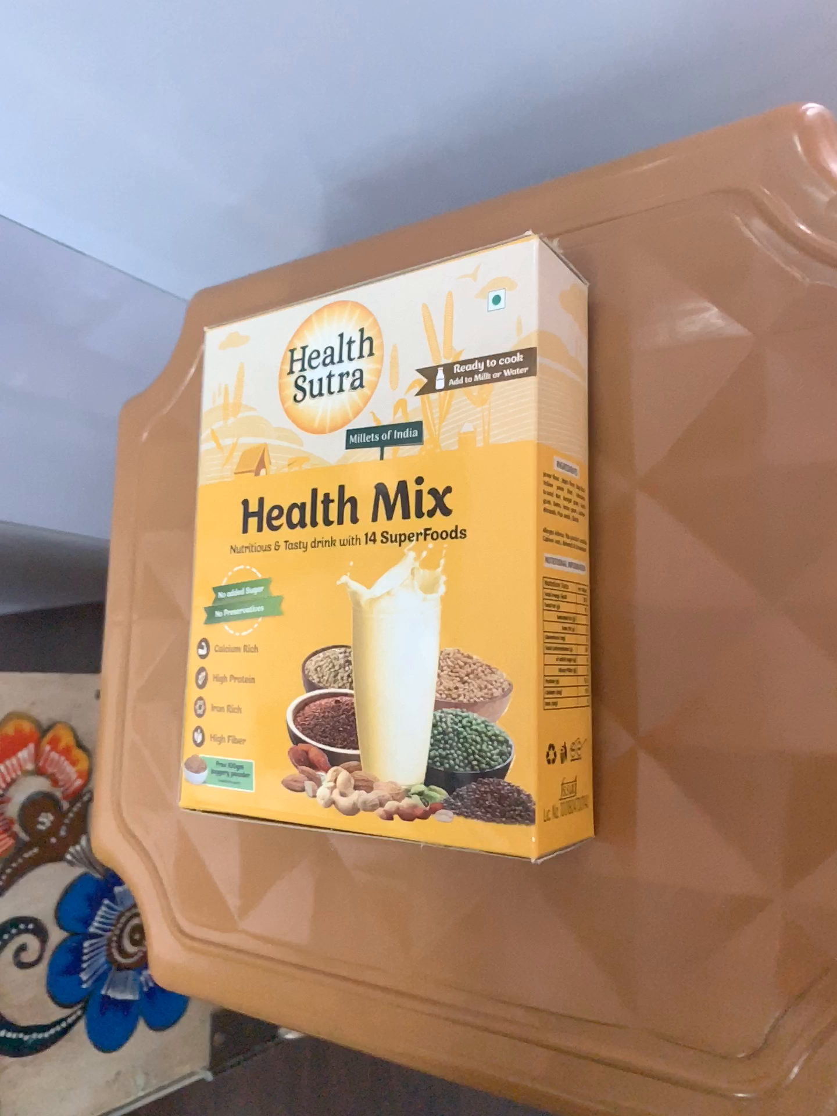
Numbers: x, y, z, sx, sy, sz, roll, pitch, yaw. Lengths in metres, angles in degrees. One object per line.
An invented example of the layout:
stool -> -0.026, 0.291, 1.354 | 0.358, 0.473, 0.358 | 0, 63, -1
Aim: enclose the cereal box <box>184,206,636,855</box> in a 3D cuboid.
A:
cereal box -> -0.006, -0.004, 0.262 | 0.131, 0.040, 0.160 | -4, 81, 32
